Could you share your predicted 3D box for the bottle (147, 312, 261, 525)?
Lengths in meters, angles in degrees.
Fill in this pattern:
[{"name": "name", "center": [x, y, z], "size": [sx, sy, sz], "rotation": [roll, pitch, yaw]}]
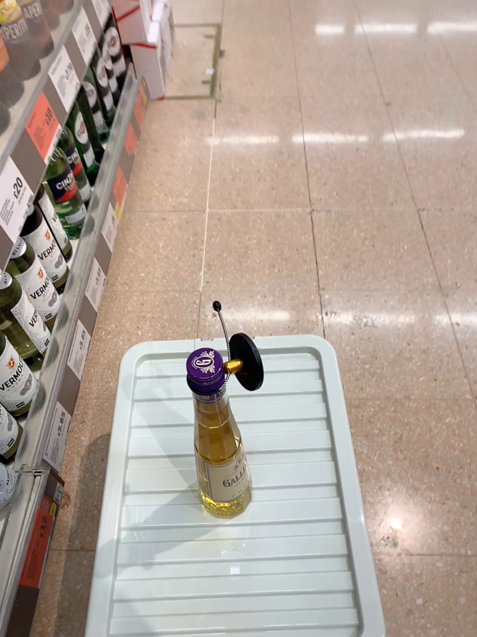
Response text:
[{"name": "bottle", "center": [-0.021, 0.134, 0.539], "size": [0.070, 0.347, 0.073], "rotation": [-1, 54, 2]}]
